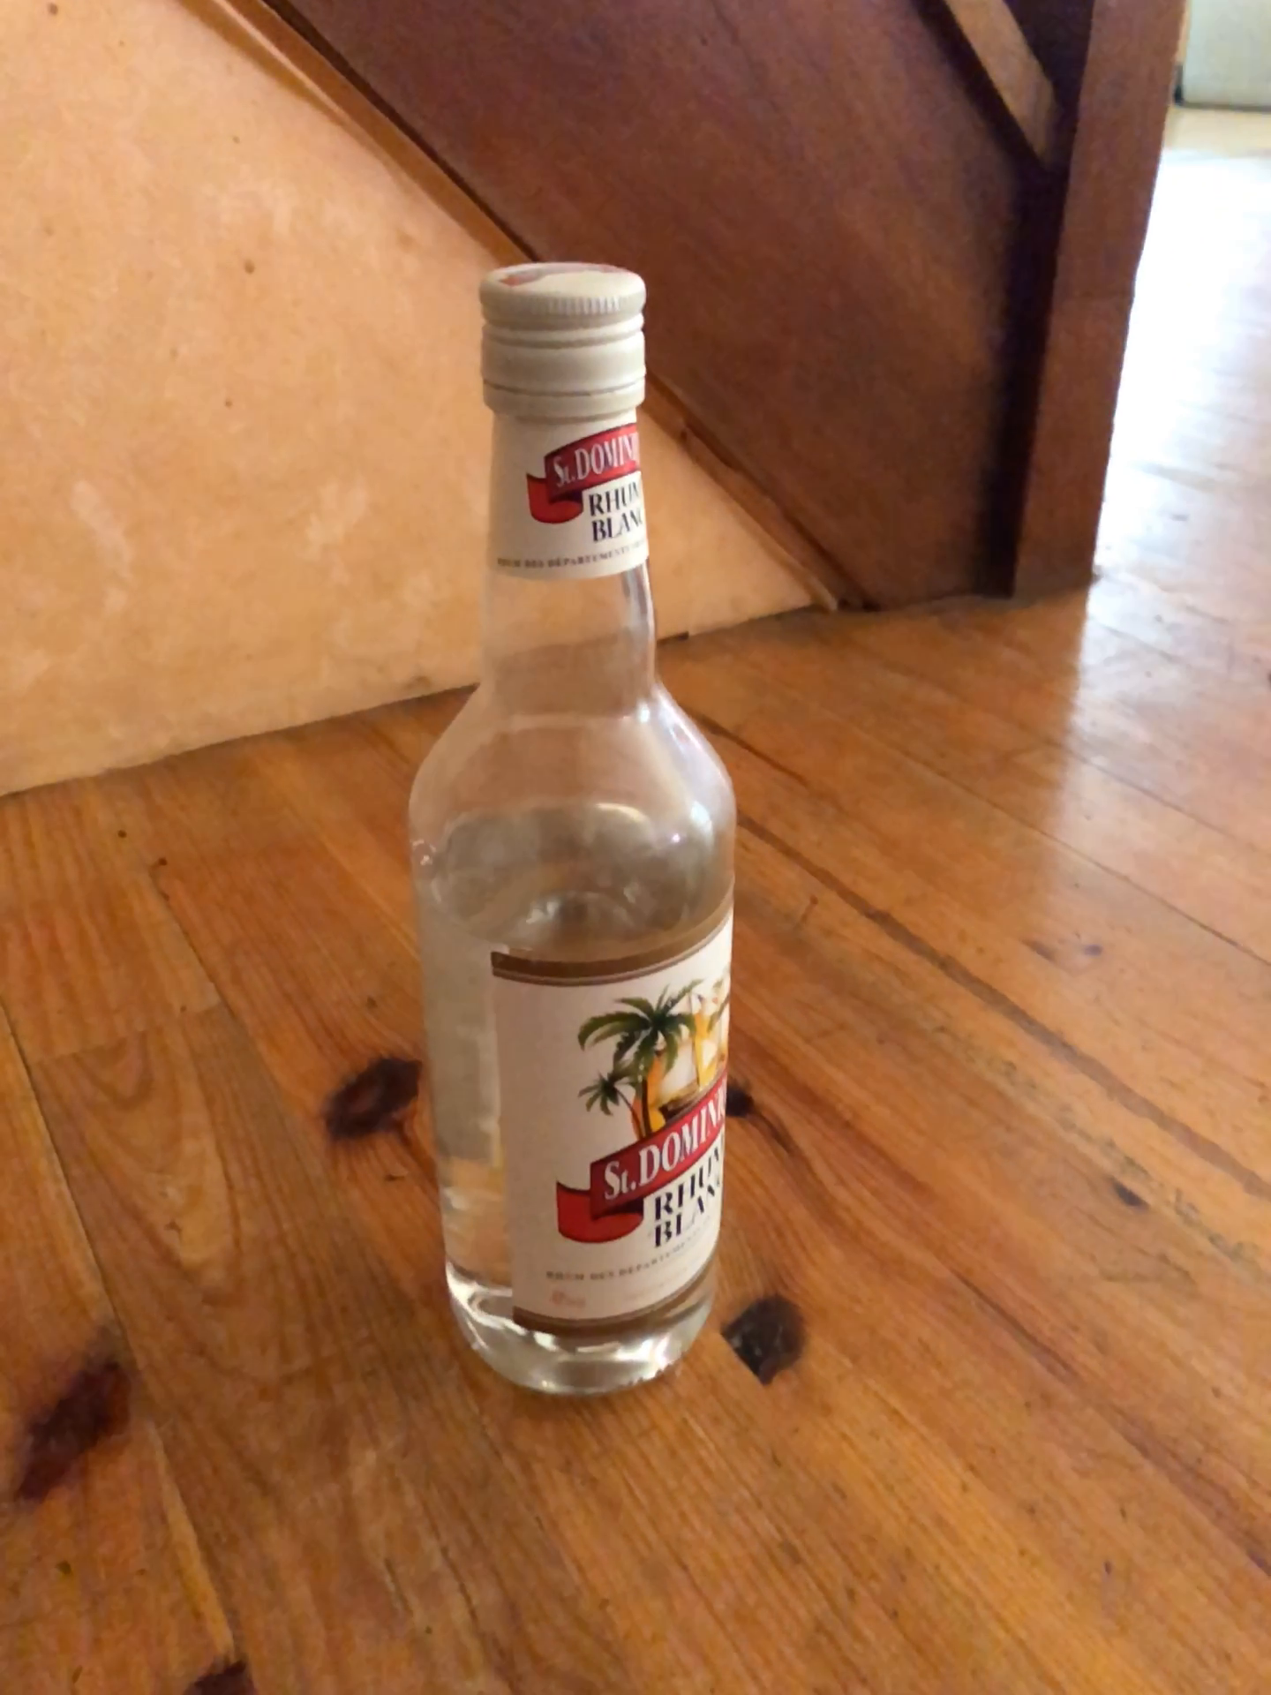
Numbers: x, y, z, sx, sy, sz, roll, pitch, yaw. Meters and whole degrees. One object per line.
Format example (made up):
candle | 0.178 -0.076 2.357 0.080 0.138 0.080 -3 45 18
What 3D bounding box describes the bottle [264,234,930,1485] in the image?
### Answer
bottle | -0.005 0.009 0.319 0.080 0.258 0.090 27 40 38
